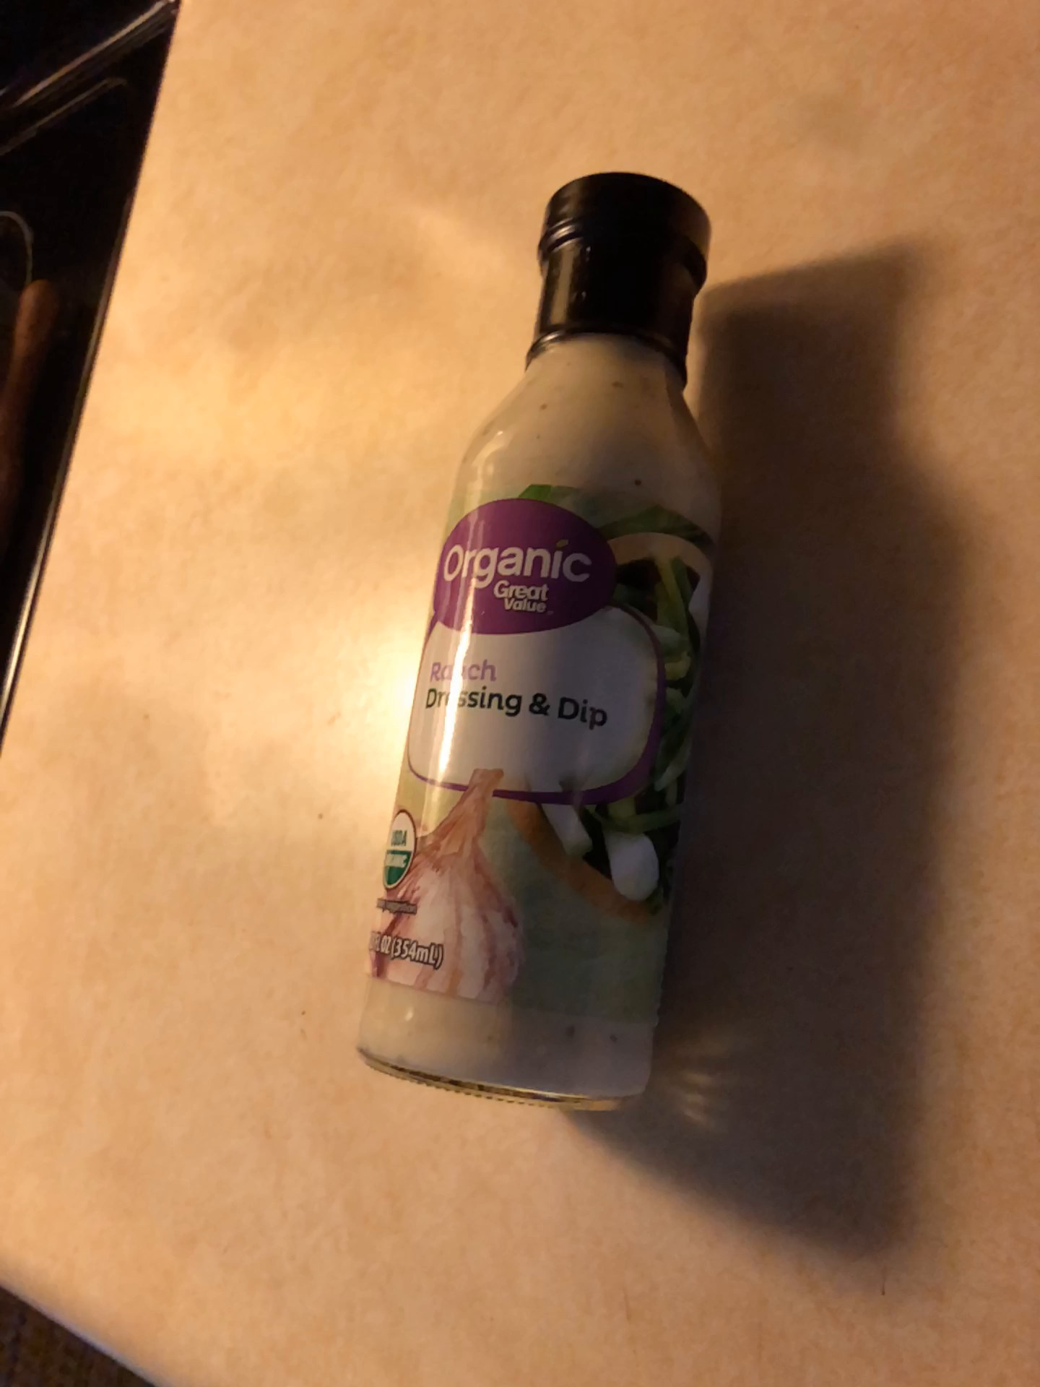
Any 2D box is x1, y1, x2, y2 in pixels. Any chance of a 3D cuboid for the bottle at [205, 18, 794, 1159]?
[{"bbox_3d":[0.004,-0.025,0.260,0.070,0.060,0.230,2,73,31],"label":"bottle"}]
